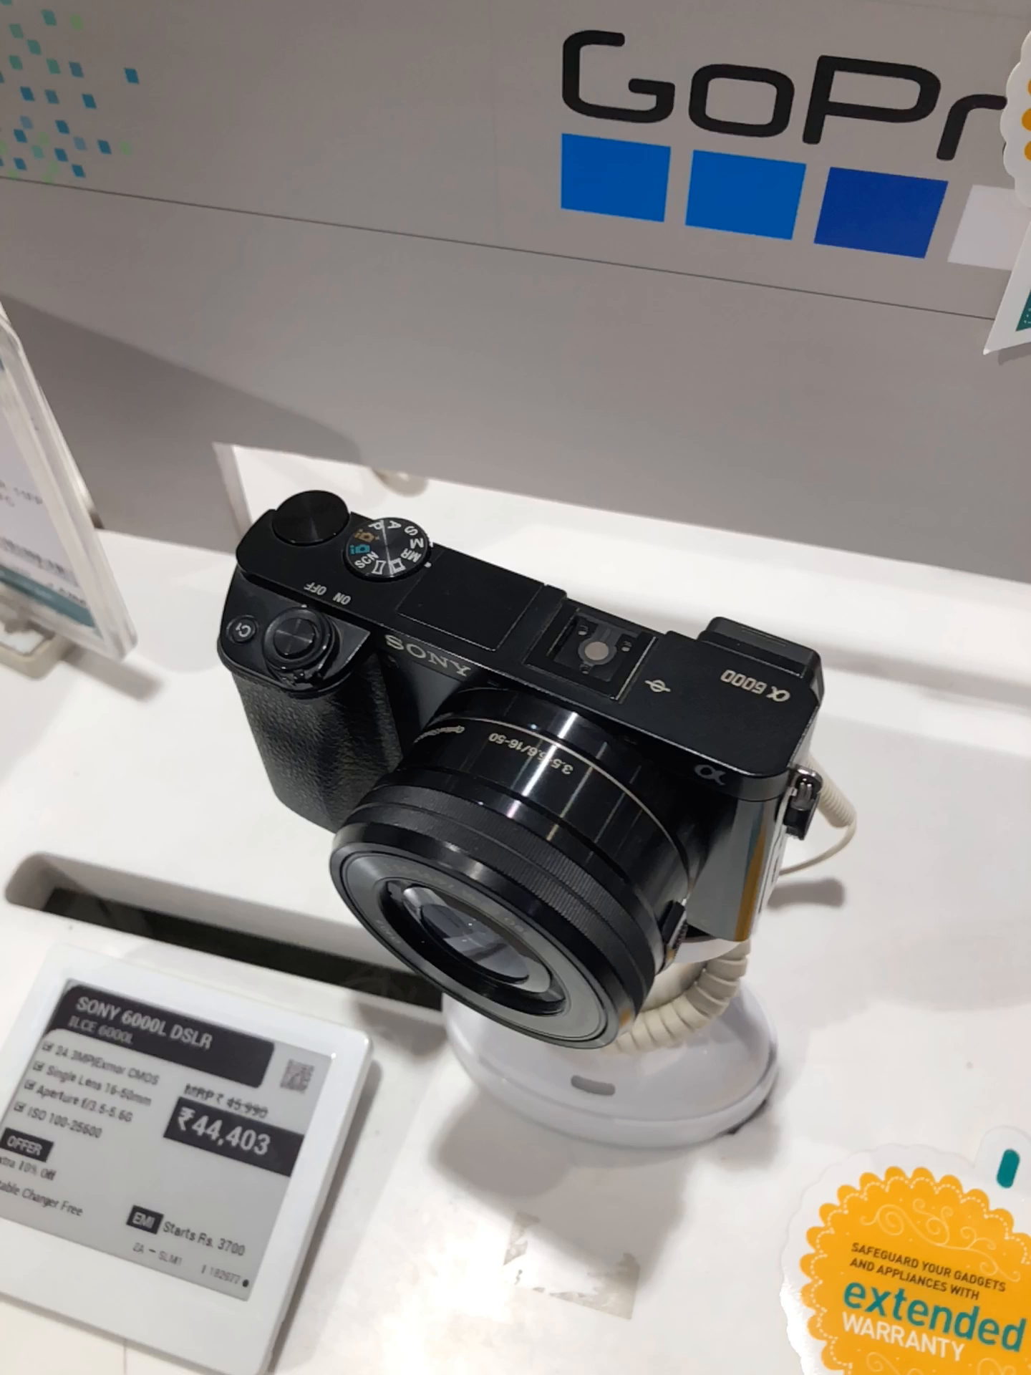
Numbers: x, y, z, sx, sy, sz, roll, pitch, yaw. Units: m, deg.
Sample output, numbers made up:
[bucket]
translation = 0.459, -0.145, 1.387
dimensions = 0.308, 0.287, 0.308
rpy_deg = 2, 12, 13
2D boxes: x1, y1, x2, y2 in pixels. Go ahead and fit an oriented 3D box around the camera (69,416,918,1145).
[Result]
[camera]
translation = -0.003, 0.015, 0.198
dimensions = 0.110, 0.070, 0.060
rpy_deg = 22, 57, 17
